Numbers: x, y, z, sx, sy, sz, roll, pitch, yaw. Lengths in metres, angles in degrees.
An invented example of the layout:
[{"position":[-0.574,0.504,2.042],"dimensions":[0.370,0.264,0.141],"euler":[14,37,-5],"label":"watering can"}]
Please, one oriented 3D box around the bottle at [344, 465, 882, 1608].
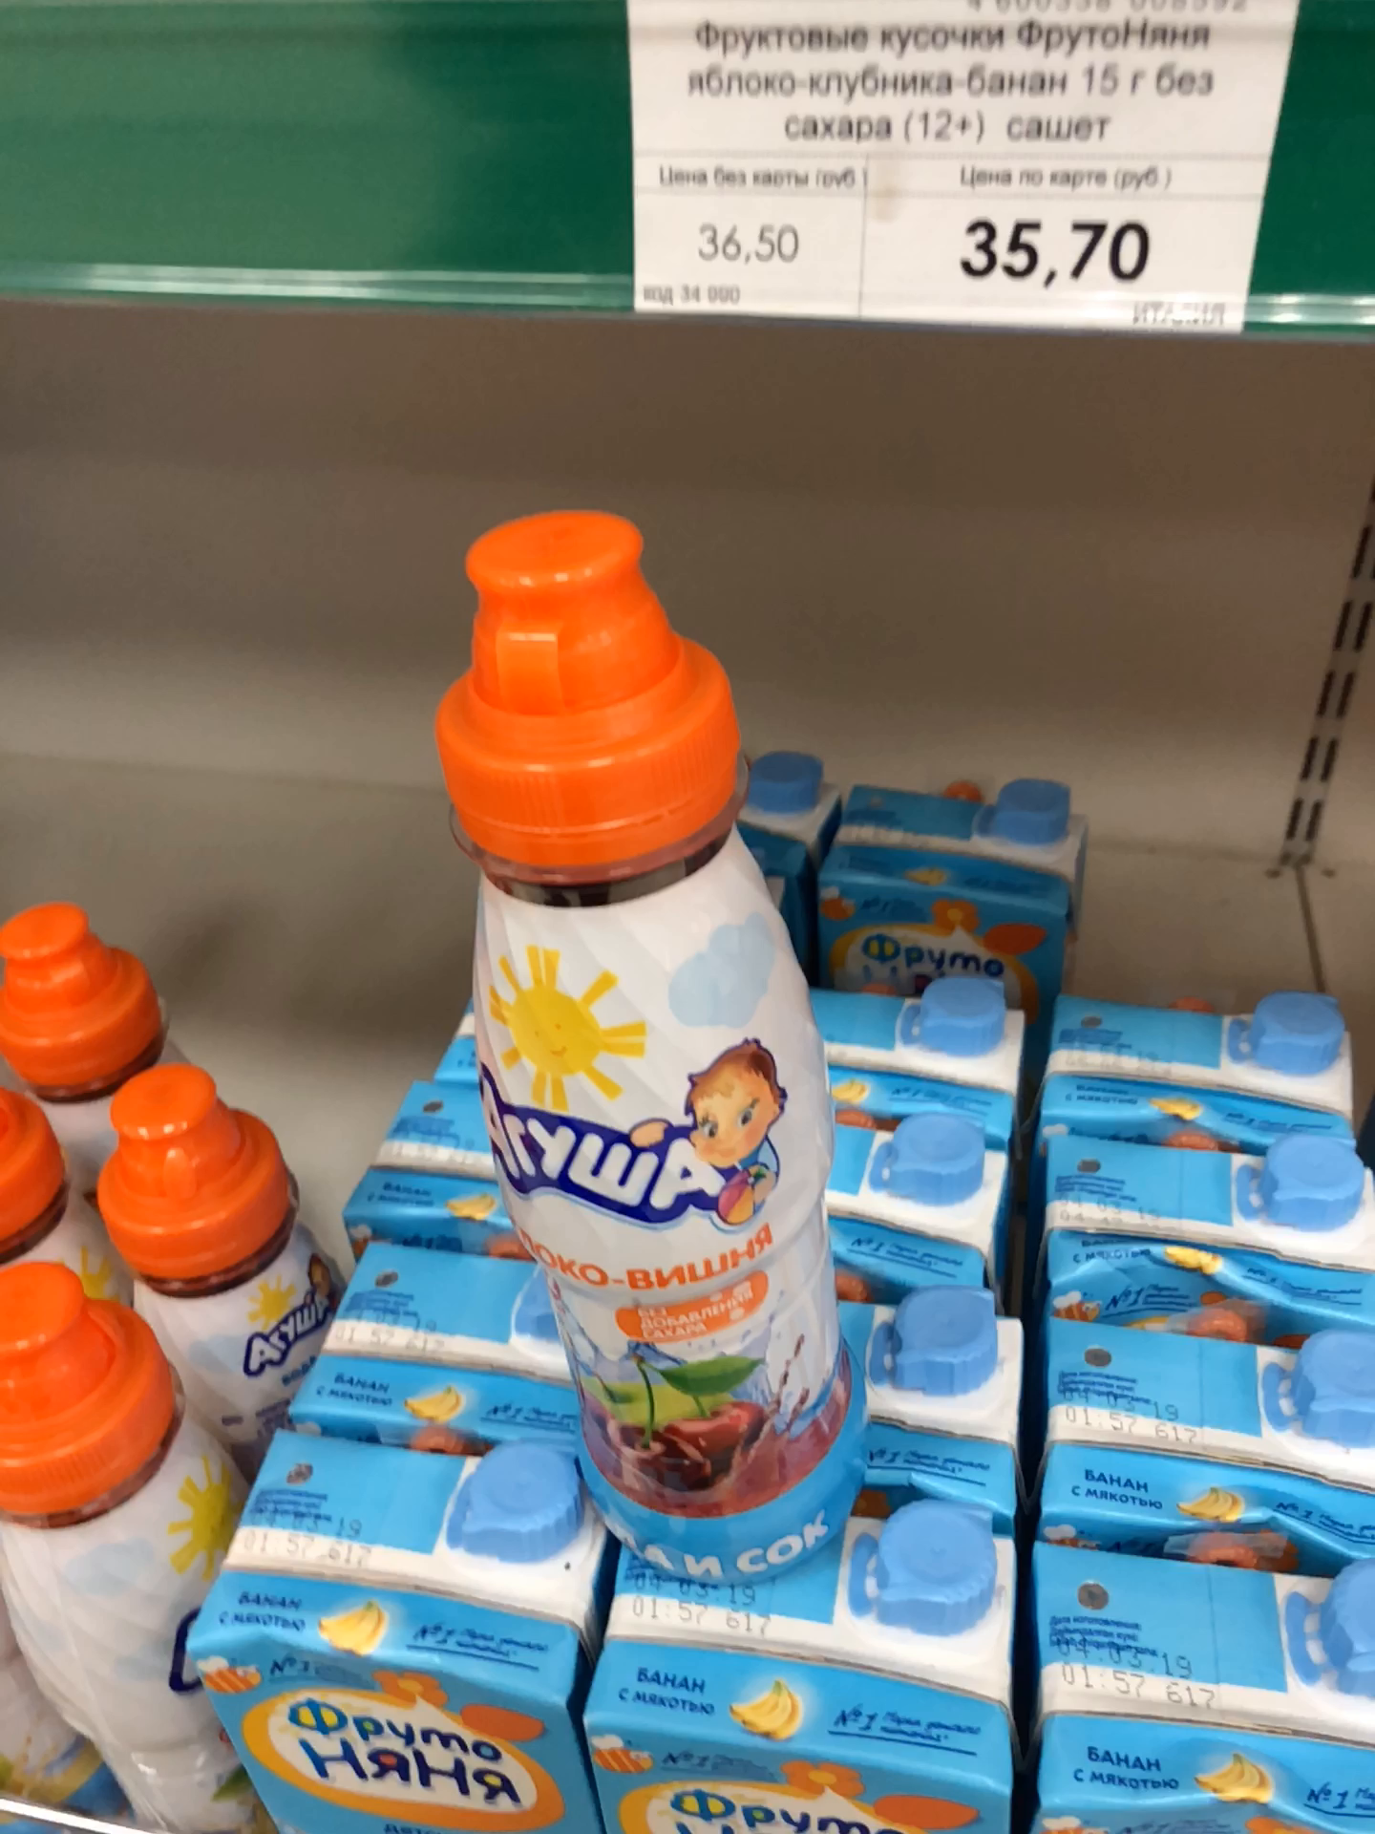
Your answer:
[{"position":[0.000,0.030,0.251],"dimensions":[0.054,0.190,0.056],"euler":[-5,33,3],"label":"bottle"}]
